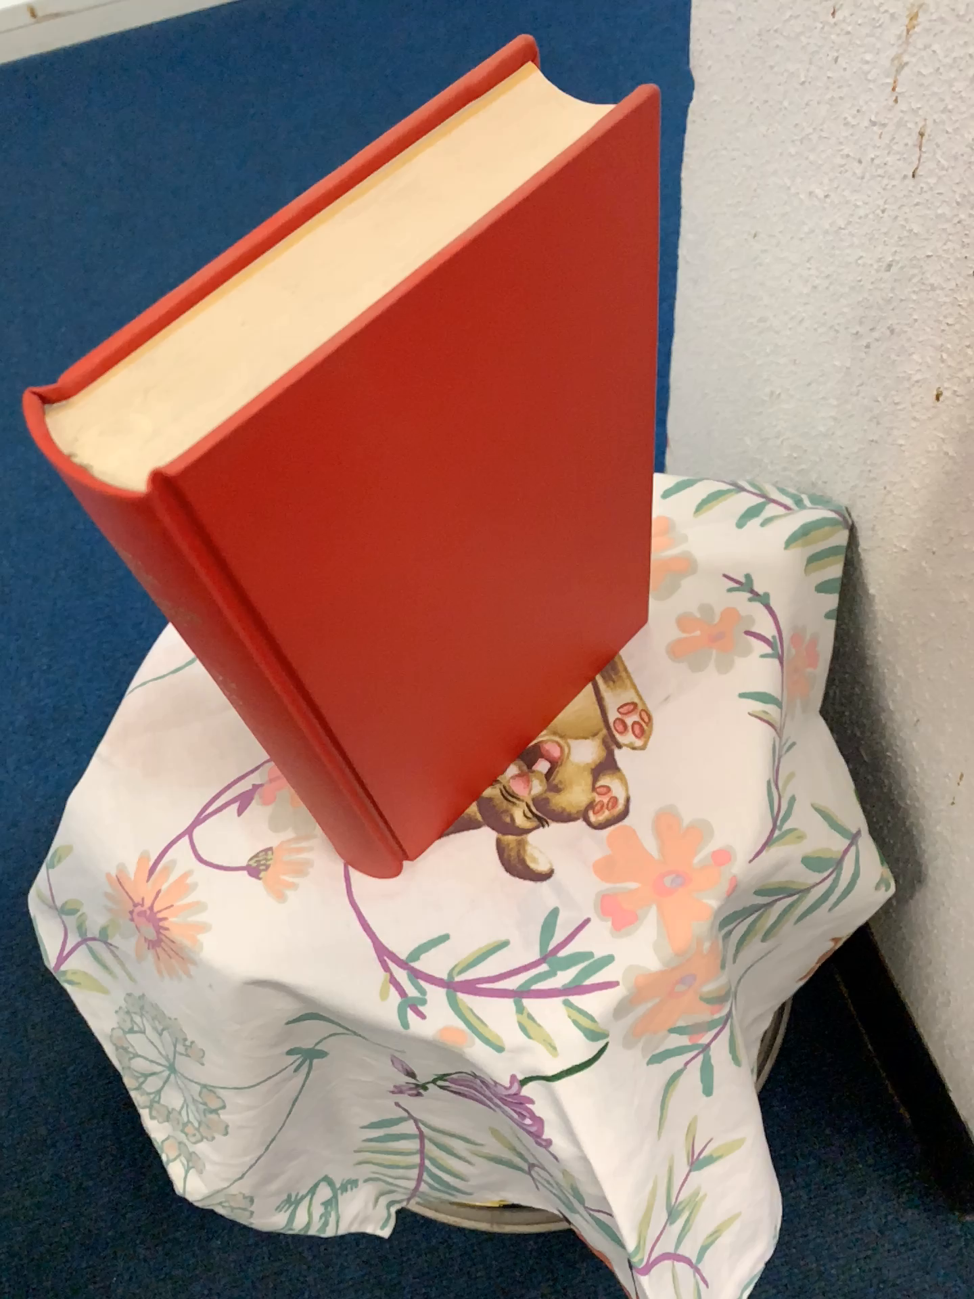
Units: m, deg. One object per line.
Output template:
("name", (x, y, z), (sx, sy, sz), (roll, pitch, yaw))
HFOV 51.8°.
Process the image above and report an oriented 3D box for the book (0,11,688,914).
("book", (-0.014, -0.030, 0.322), (0.050, 0.246, 0.168), (38, 71, 27))
